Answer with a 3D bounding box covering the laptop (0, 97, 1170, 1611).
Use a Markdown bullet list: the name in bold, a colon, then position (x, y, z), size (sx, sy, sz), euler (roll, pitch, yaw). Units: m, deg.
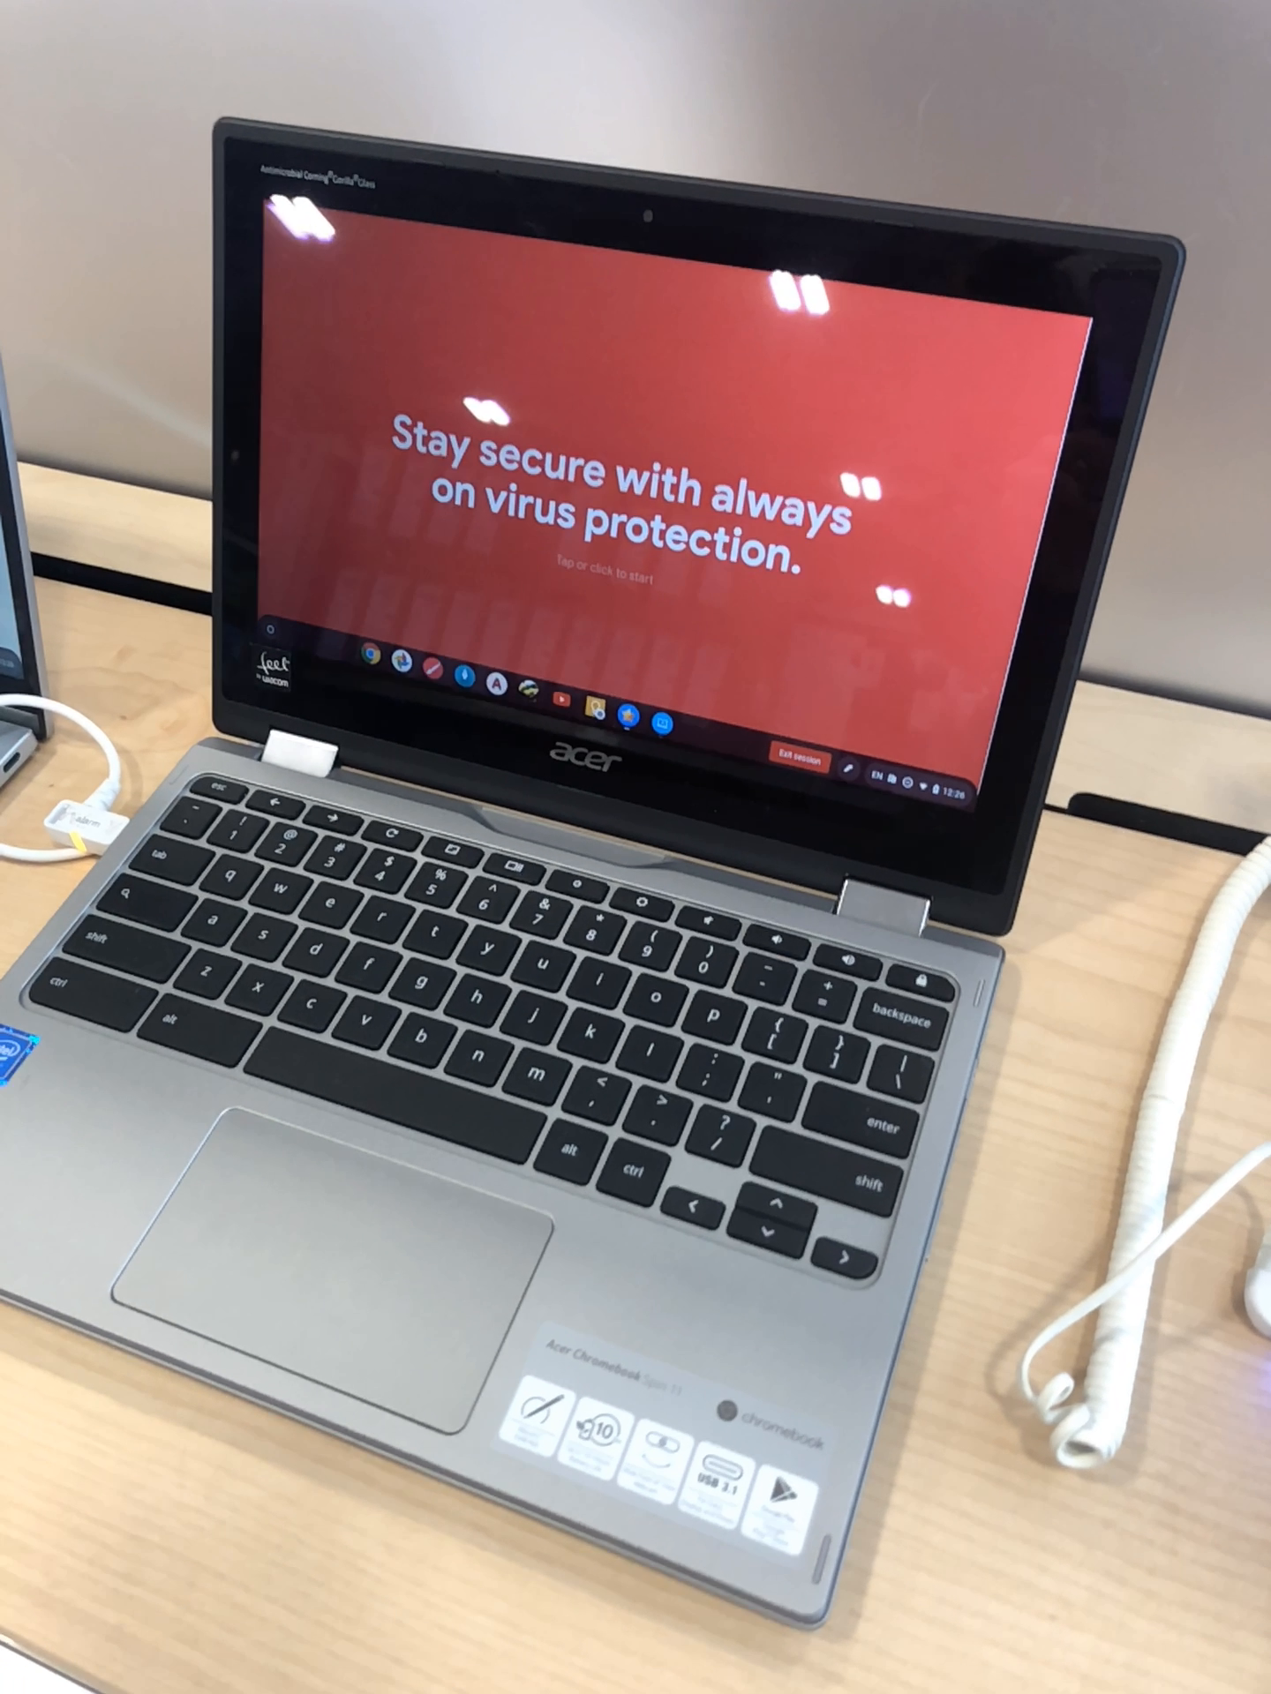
- **laptop**: position (-0.045, -0.031, 0.373), size (0.287, 0.176, 0.296), euler (15, 52, 16)
